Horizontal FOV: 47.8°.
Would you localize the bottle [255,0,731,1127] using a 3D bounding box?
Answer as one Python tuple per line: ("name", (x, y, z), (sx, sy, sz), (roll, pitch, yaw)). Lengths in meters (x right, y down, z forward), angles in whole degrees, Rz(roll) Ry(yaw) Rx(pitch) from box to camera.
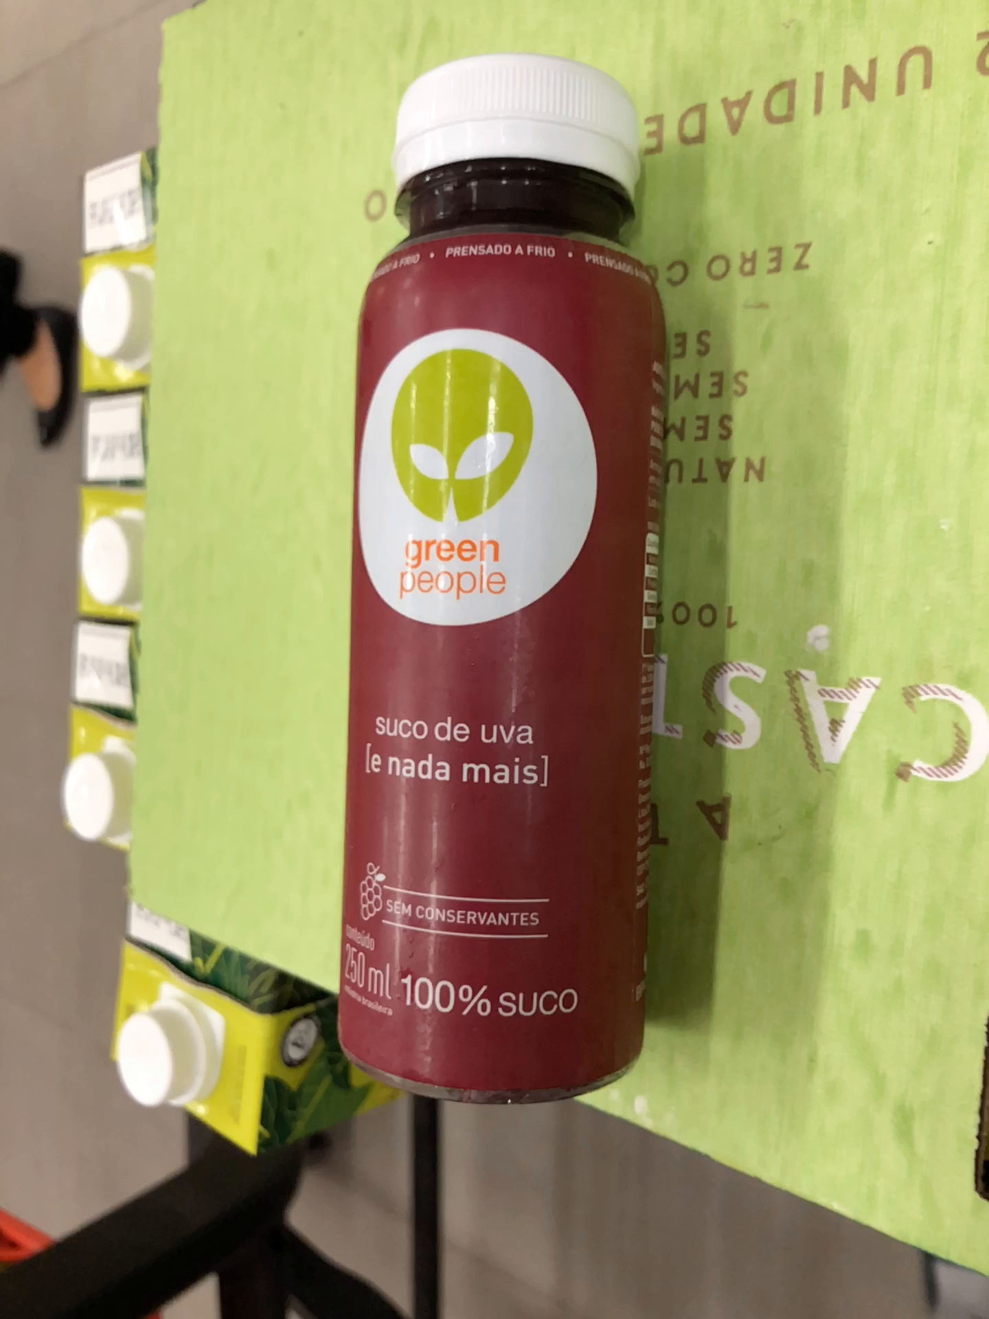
("bottle", (0.003, -0.023, 0.187), (0.060, 0.060, 0.170), (3, 93, 17))
